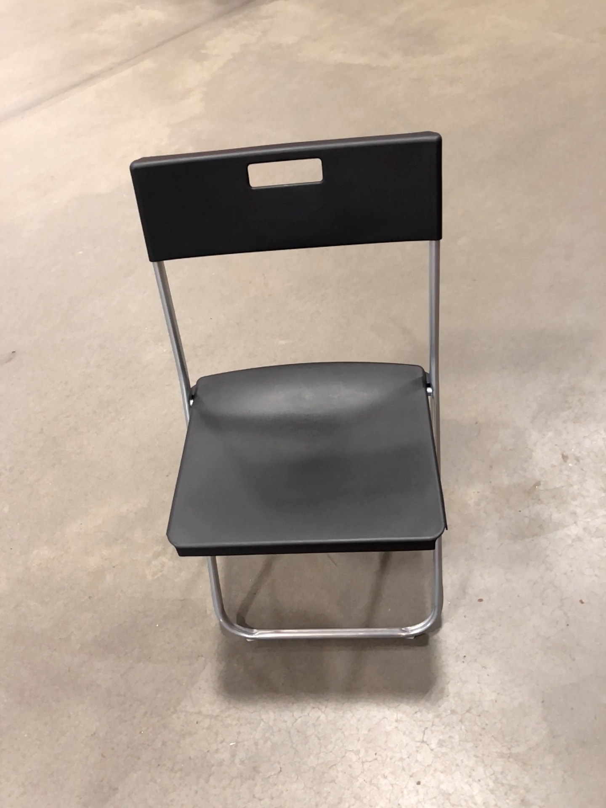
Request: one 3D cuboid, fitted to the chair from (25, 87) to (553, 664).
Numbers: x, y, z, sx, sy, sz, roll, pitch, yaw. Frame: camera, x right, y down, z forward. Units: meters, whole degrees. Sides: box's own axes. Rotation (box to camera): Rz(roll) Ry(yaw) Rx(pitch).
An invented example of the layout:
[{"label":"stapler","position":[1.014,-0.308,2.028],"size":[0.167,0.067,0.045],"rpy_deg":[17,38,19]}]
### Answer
[{"label":"chair","position":[0.020,0.029,1.015],"size":[0.460,0.758,0.461],"rpy_deg":[-4,51,5]}]
